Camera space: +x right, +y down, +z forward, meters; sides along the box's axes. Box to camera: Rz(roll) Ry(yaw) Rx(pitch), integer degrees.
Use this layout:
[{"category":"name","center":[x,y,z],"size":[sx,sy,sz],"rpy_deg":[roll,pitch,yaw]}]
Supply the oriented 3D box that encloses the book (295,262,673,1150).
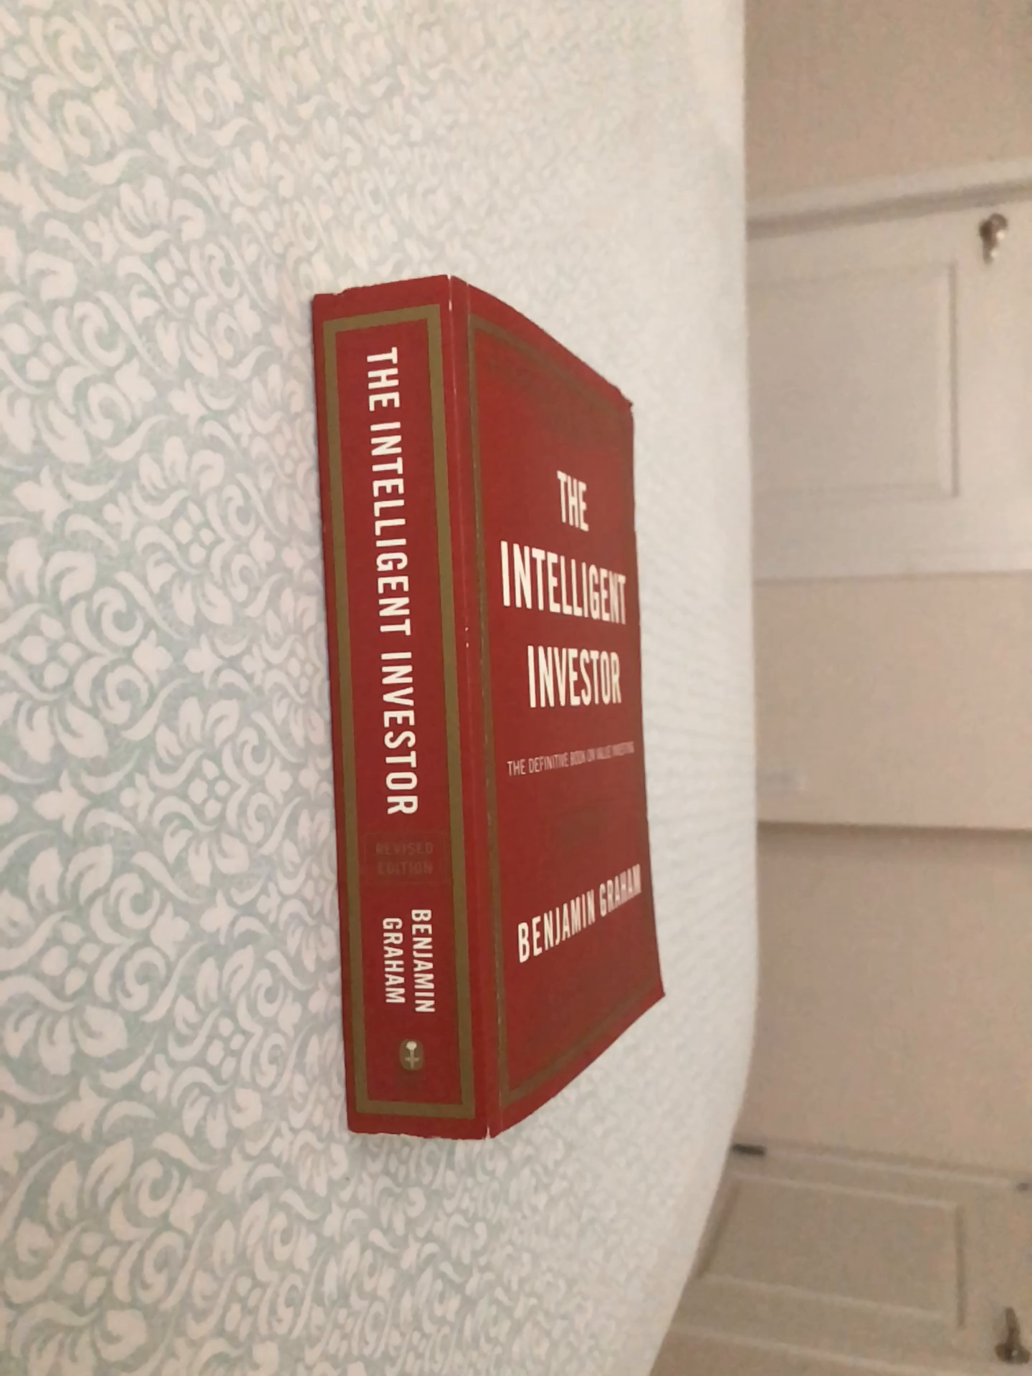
[{"category":"book","center":[-0.001,0.004,0.329],"size":[0.131,0.050,0.200],"rpy_deg":[-2,89,-67]}]
